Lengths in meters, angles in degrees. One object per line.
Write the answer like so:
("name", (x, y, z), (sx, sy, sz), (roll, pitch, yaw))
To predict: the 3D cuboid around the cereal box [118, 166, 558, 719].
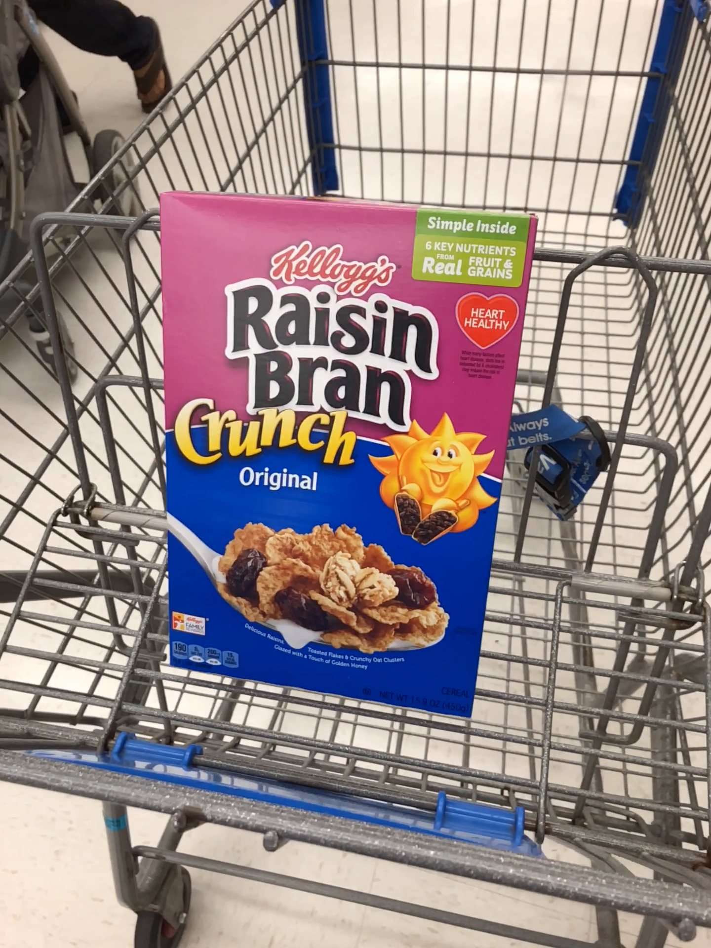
("cereal box", (-0.015, -0.016, 0.441), (0.210, 0.280, 0.060), (7, 20, 10))
